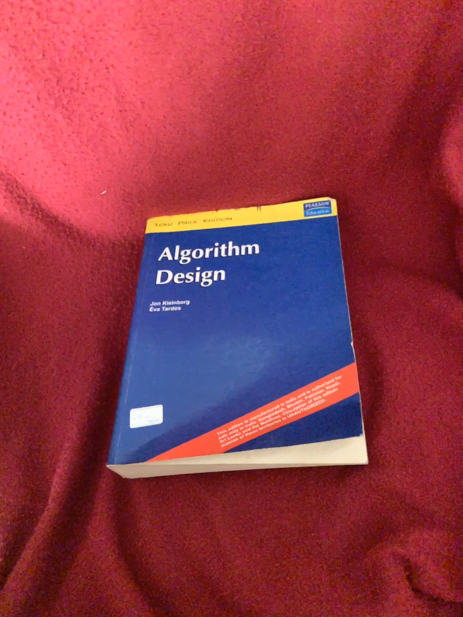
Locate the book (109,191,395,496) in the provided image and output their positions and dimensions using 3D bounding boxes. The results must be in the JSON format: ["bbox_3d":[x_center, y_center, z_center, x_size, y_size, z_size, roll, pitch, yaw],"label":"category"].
[{"bbox_3d":[0.014,0.020,0.409,0.190,0.060,0.251,-4,57,6],"label":"book"}]
